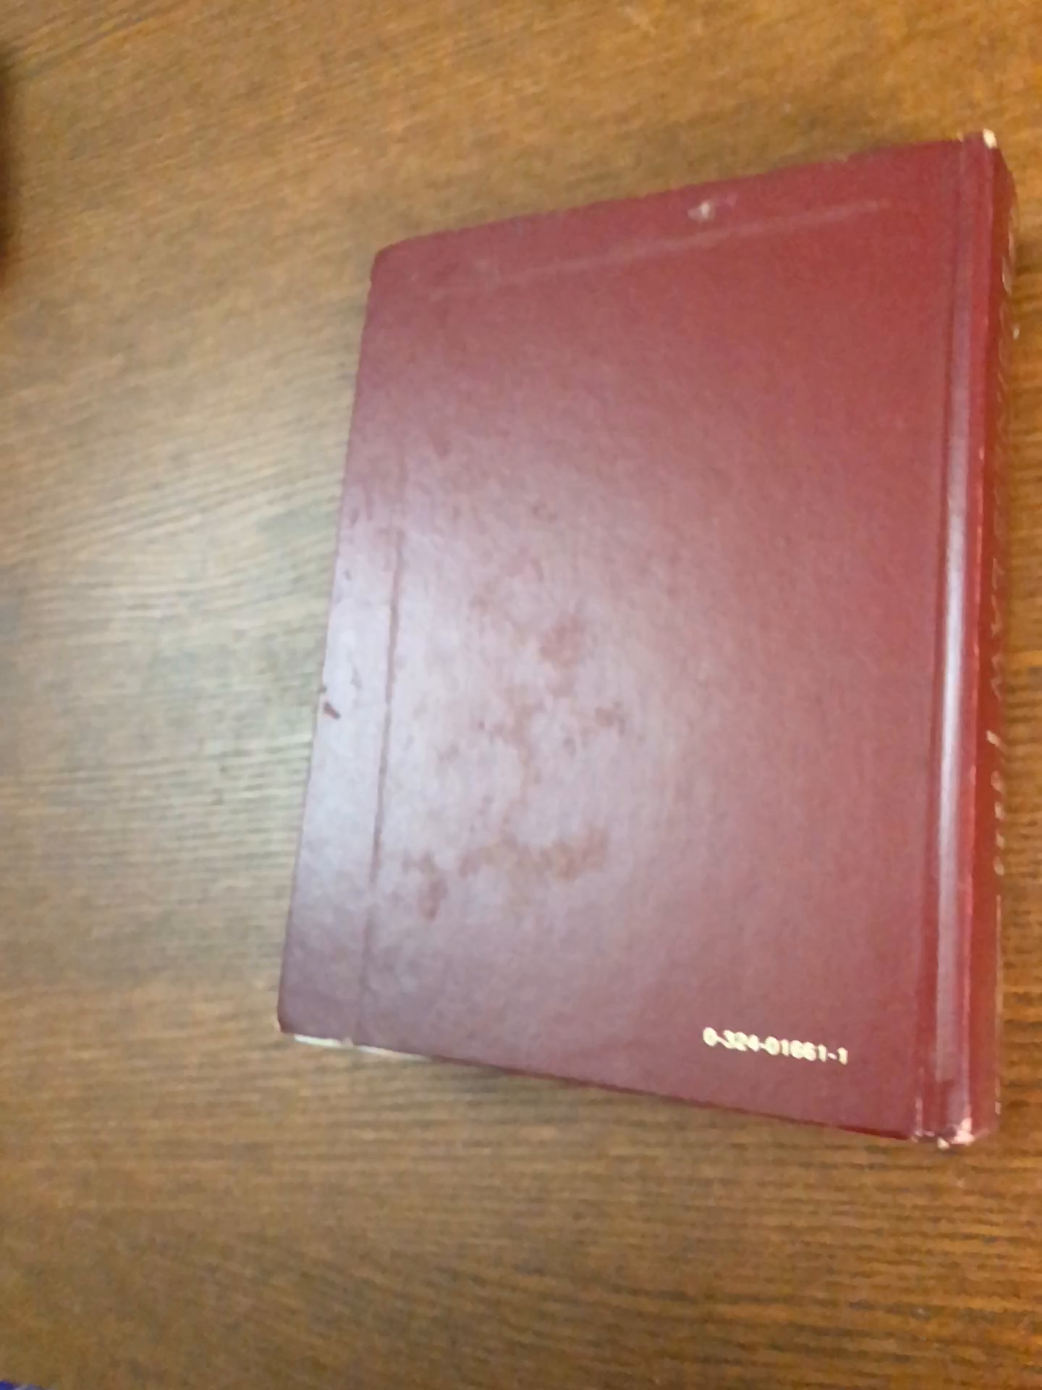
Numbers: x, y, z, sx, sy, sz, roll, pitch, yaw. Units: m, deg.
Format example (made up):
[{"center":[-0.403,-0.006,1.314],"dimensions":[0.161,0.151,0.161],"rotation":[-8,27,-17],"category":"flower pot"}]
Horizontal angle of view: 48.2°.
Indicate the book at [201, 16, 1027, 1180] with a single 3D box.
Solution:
[{"center":[0.032,-0.030,0.359],"dimensions":[0.221,0.070,0.290],"rotation":[0,78,26],"category":"book"}]
